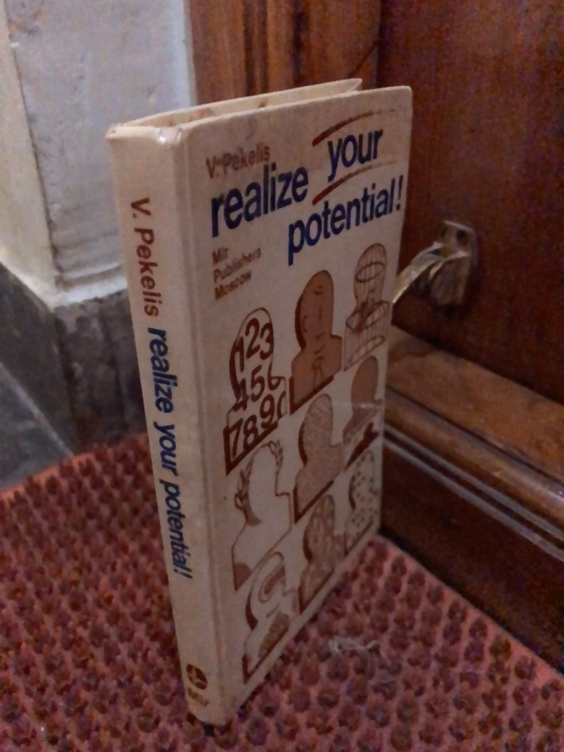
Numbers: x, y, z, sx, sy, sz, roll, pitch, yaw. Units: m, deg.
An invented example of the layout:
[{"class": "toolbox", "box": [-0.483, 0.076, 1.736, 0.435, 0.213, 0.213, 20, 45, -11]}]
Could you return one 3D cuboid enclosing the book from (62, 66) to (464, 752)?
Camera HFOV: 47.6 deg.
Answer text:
[{"class": "book", "box": [0.012, 0.007, 0.235, 0.030, 0.209, 0.150, 18, 34, 33]}]
